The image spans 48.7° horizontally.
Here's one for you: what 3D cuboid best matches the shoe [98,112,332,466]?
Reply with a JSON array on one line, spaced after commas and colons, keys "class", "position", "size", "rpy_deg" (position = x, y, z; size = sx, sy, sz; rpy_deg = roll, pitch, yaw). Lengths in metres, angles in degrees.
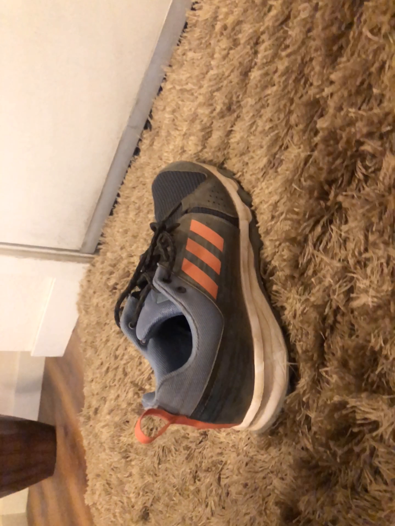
[{"class": "shoe", "position": [-0.009, 0.012, 0.384], "size": [0.113, 0.109, 0.275], "rpy_deg": [-55, 39, 45]}]
